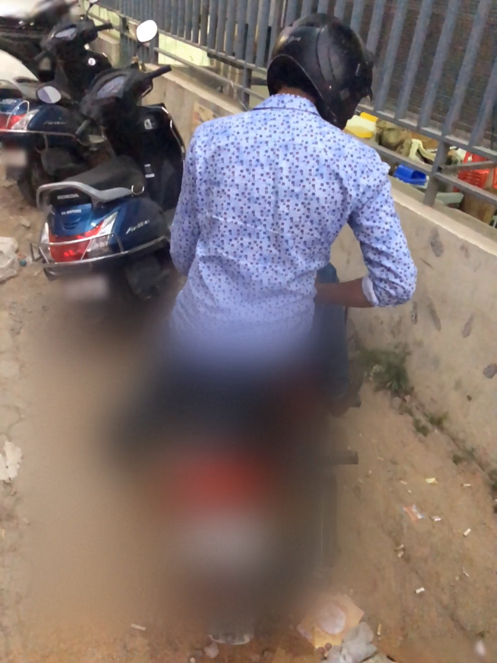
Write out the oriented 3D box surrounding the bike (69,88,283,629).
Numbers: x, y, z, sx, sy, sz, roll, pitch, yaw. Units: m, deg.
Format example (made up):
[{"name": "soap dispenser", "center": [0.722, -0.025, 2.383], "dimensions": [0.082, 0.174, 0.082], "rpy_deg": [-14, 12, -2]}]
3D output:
[{"name": "bike", "center": [-0.200, -0.119, 1.916], "dimensions": [0.424, 0.830, 1.661], "rpy_deg": [5, 38, -4]}]
